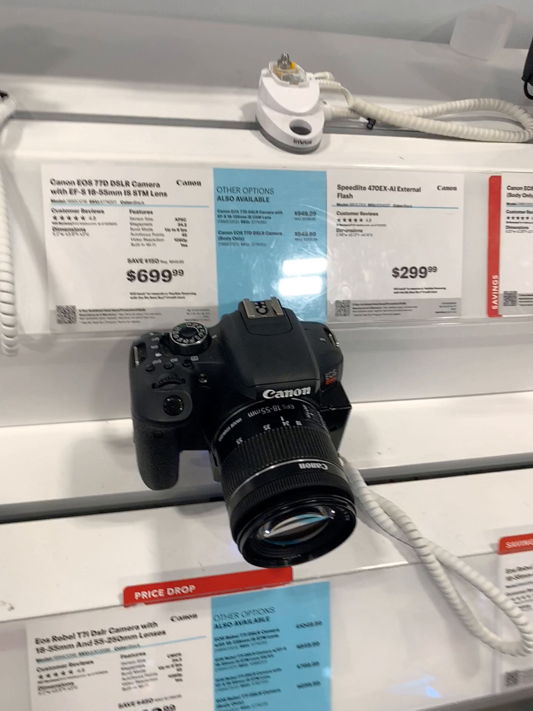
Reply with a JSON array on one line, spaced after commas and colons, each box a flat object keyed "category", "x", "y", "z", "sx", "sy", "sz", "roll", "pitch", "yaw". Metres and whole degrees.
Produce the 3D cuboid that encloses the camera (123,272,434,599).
[{"category": "camera", "x": -0.007, "y": 0.038, "z": 0.319, "sx": 0.130, "sy": 0.100, "sz": 0.138, "roll": -6, "pitch": 46, "yaw": -14}]
